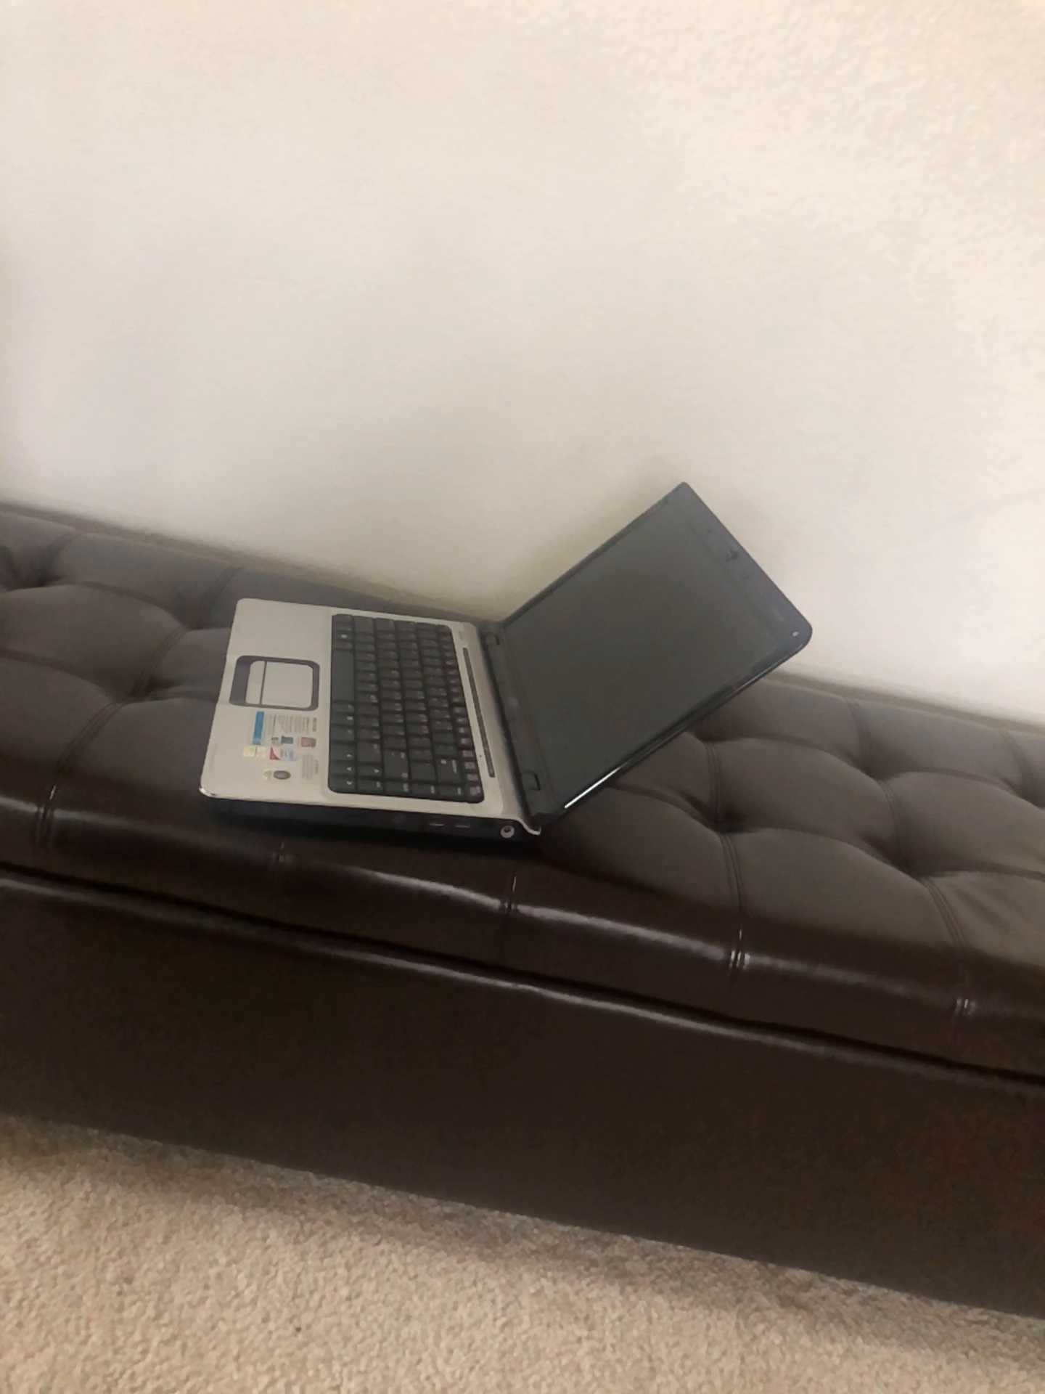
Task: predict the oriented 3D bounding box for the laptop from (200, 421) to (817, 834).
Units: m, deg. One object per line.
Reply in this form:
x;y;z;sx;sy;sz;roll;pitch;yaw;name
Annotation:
-0.030;-0.066;0.891;0.381;0.161;0.327;6;26;-12;laptop
